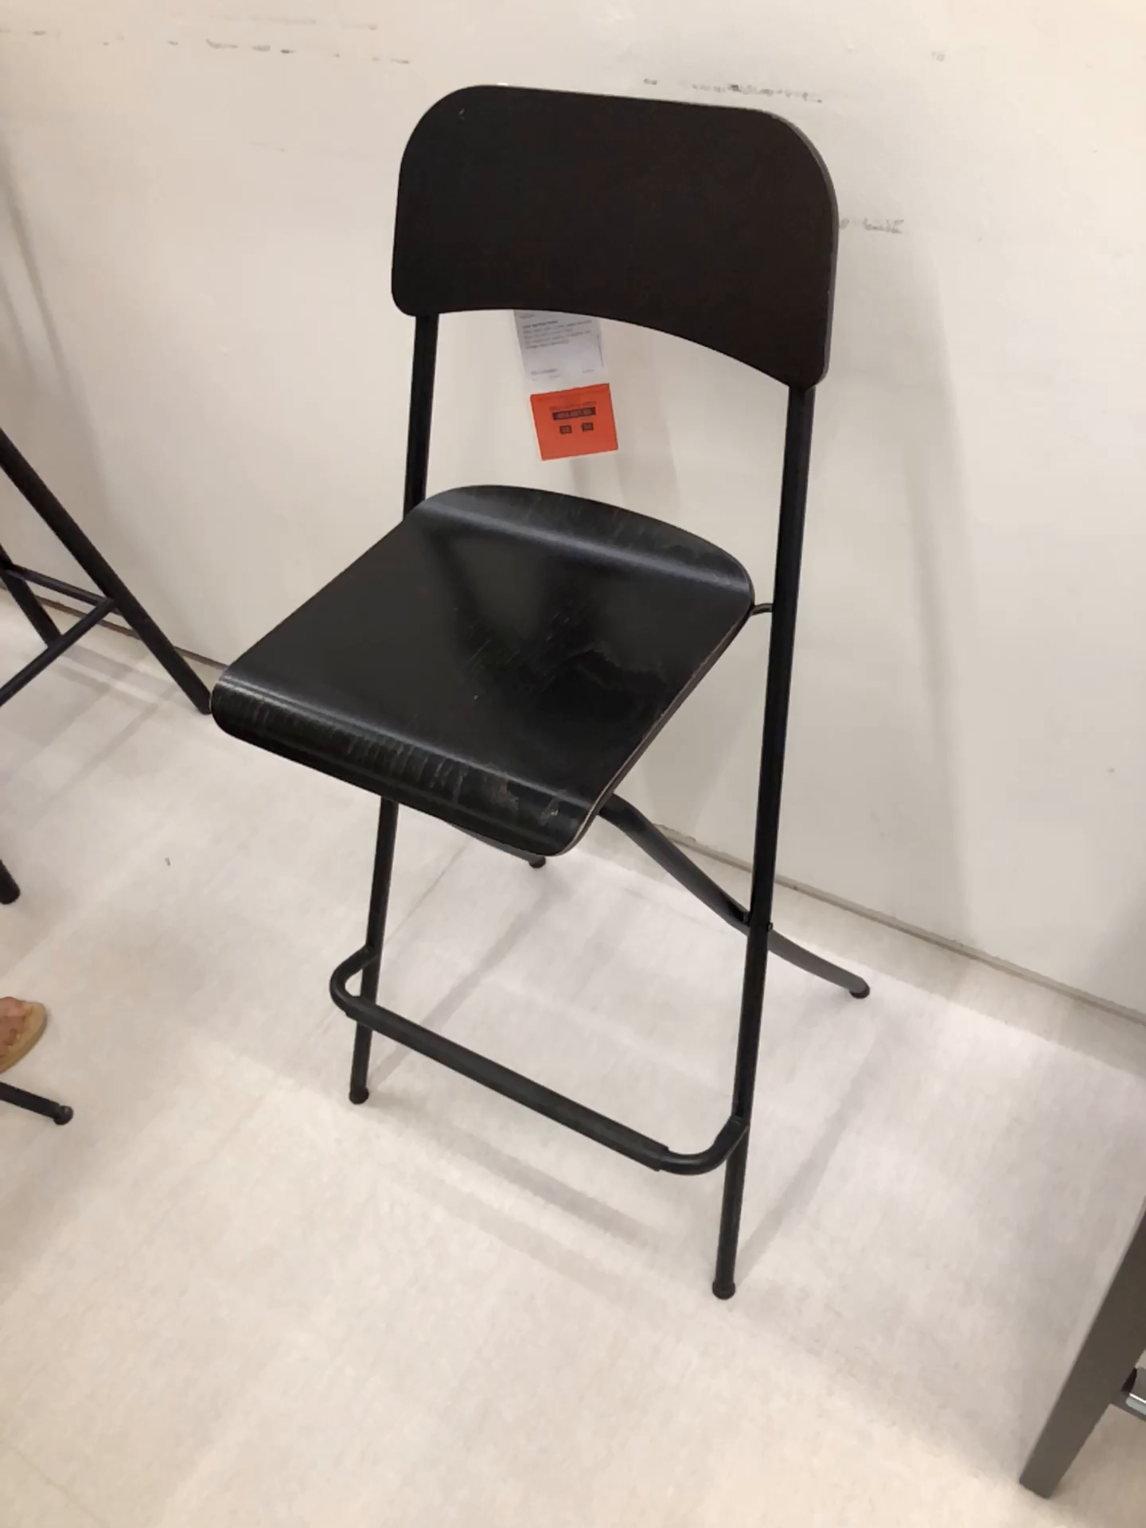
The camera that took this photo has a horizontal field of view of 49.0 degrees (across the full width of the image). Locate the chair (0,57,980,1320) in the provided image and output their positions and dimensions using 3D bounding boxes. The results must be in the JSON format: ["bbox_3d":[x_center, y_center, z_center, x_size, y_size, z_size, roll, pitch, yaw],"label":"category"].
[{"bbox_3d":[-0.020,-0.024,1.072,0.491,0.884,0.472,19,52,25],"label":"chair"}]
